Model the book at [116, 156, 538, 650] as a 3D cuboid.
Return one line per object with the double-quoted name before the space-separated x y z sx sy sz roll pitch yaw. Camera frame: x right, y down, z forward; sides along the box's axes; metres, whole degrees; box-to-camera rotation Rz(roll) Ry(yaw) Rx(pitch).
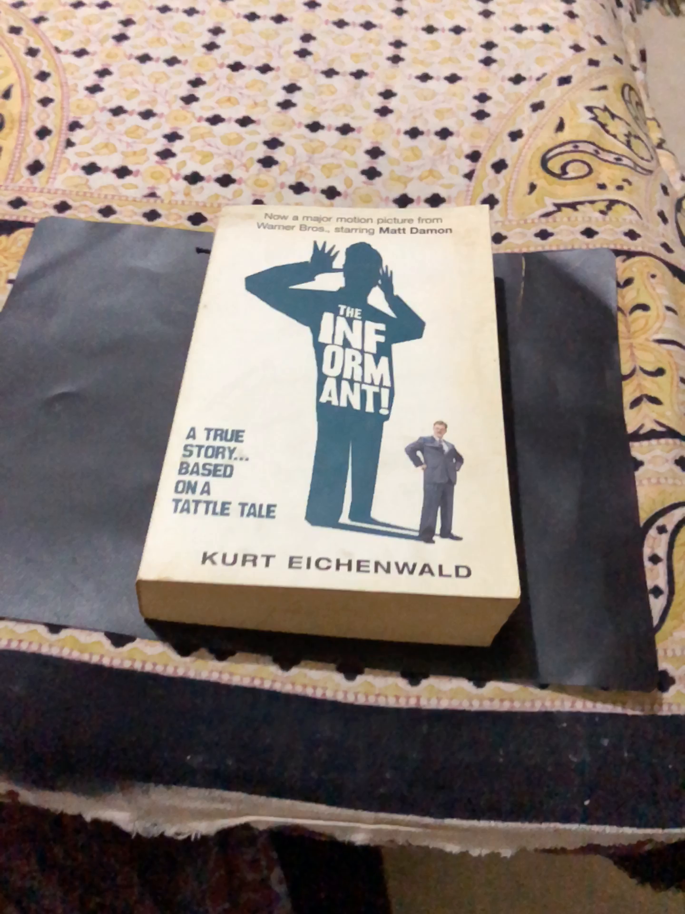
"book" 0.001 -0.039 0.339 0.140 0.050 0.231 3 55 2
